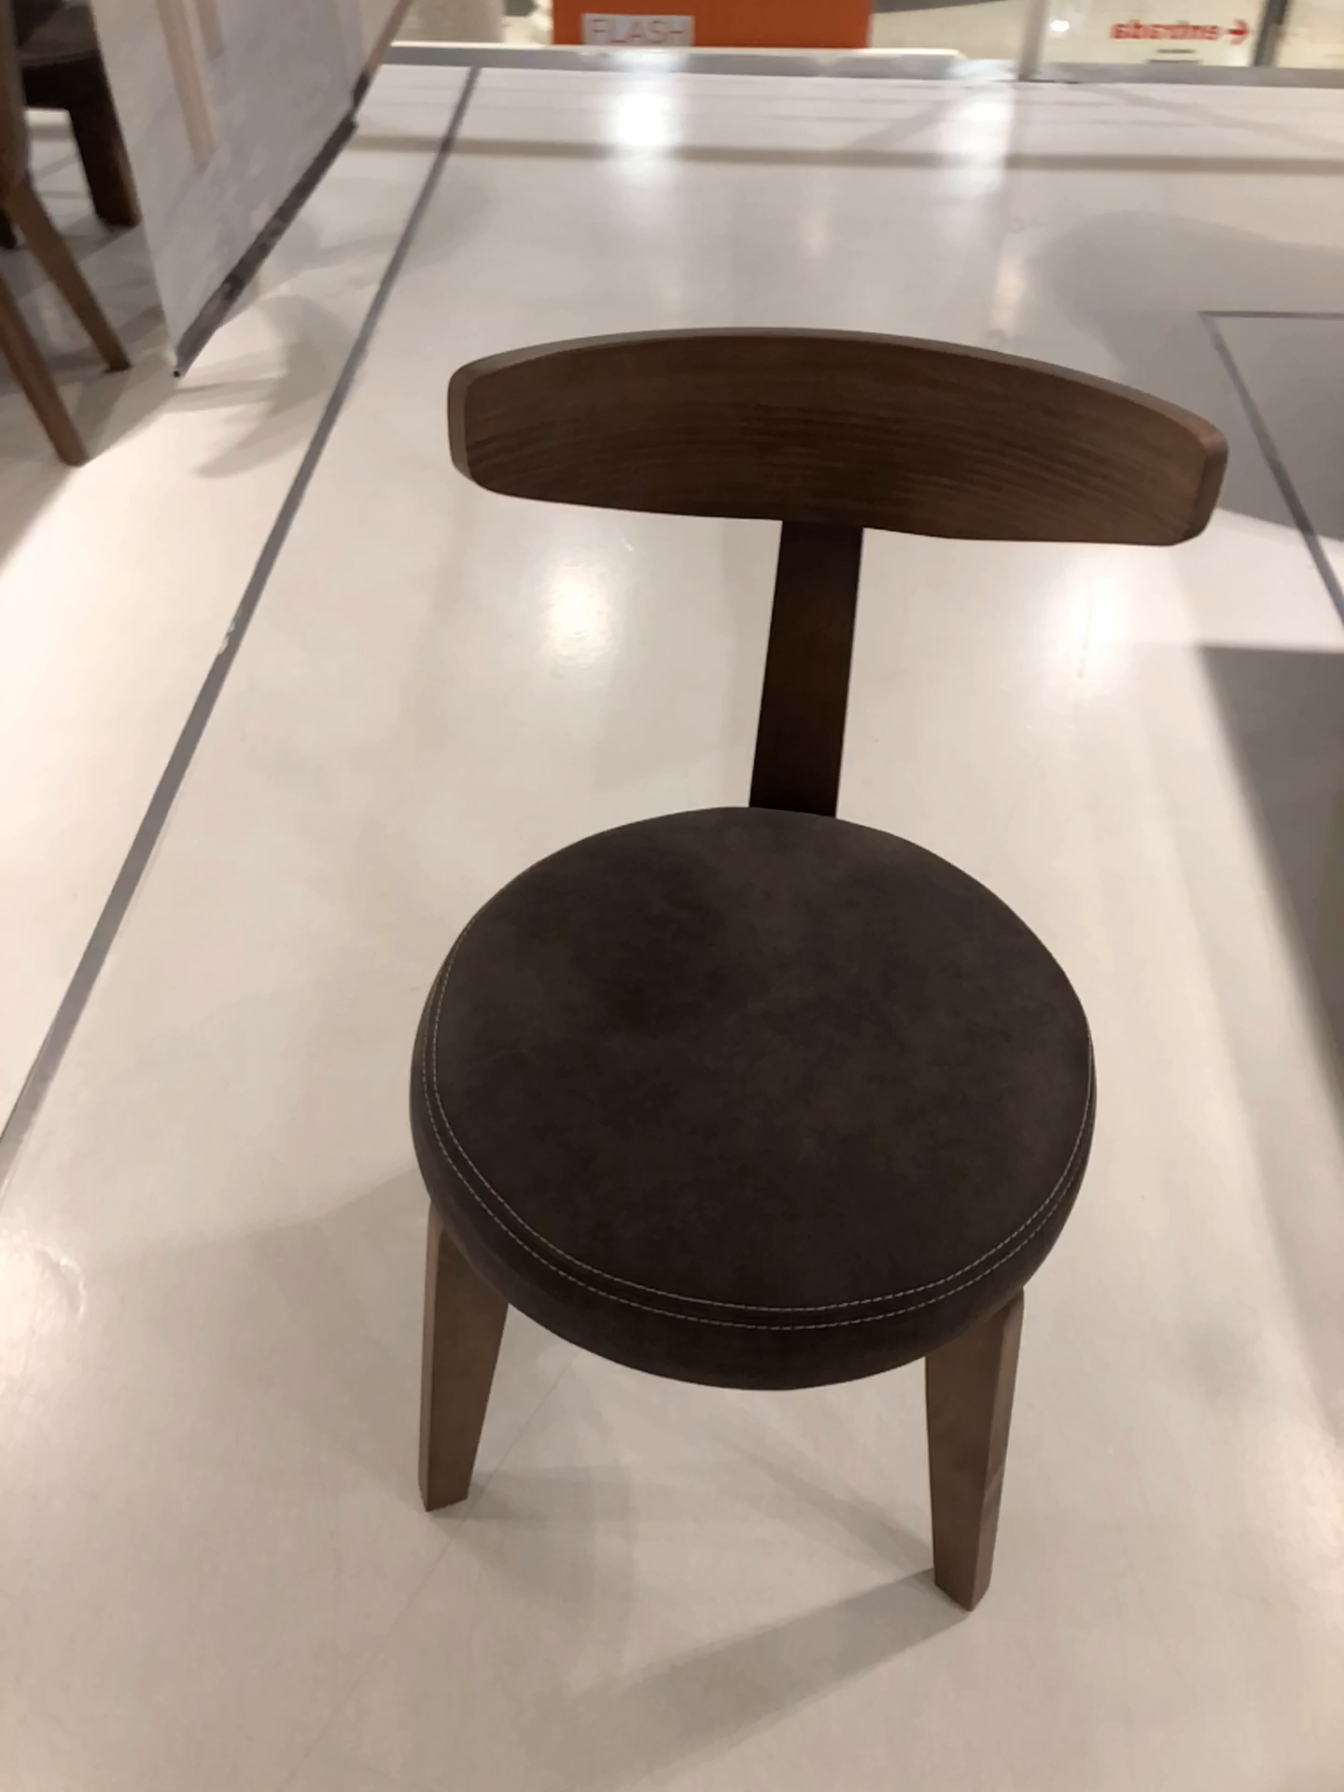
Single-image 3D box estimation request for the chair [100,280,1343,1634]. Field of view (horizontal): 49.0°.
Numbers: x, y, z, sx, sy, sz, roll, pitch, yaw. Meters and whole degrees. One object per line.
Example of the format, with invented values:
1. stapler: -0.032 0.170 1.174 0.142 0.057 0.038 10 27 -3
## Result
1. chair: 0.047 0.062 0.971 0.470 0.705 0.493 6 45 6
